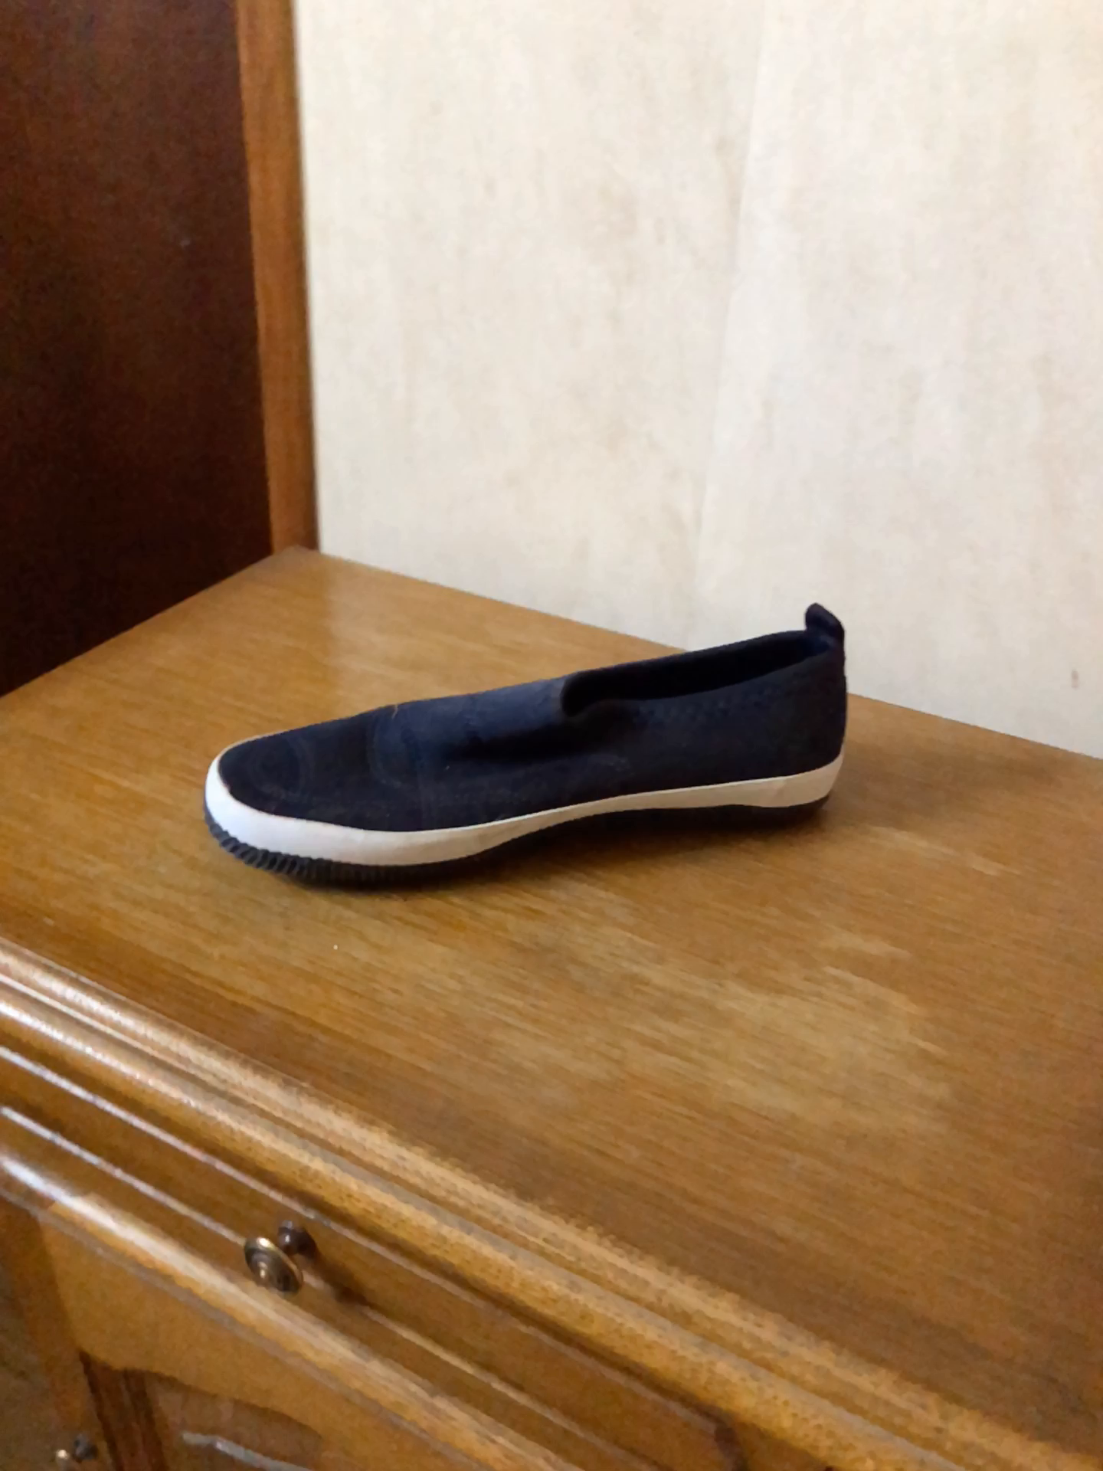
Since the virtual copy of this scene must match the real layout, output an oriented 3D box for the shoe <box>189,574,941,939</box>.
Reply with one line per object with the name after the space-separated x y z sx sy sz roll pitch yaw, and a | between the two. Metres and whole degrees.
0.001 0.001 0.471 0.260 0.080 0.100 -4 32 -12 | shoe
